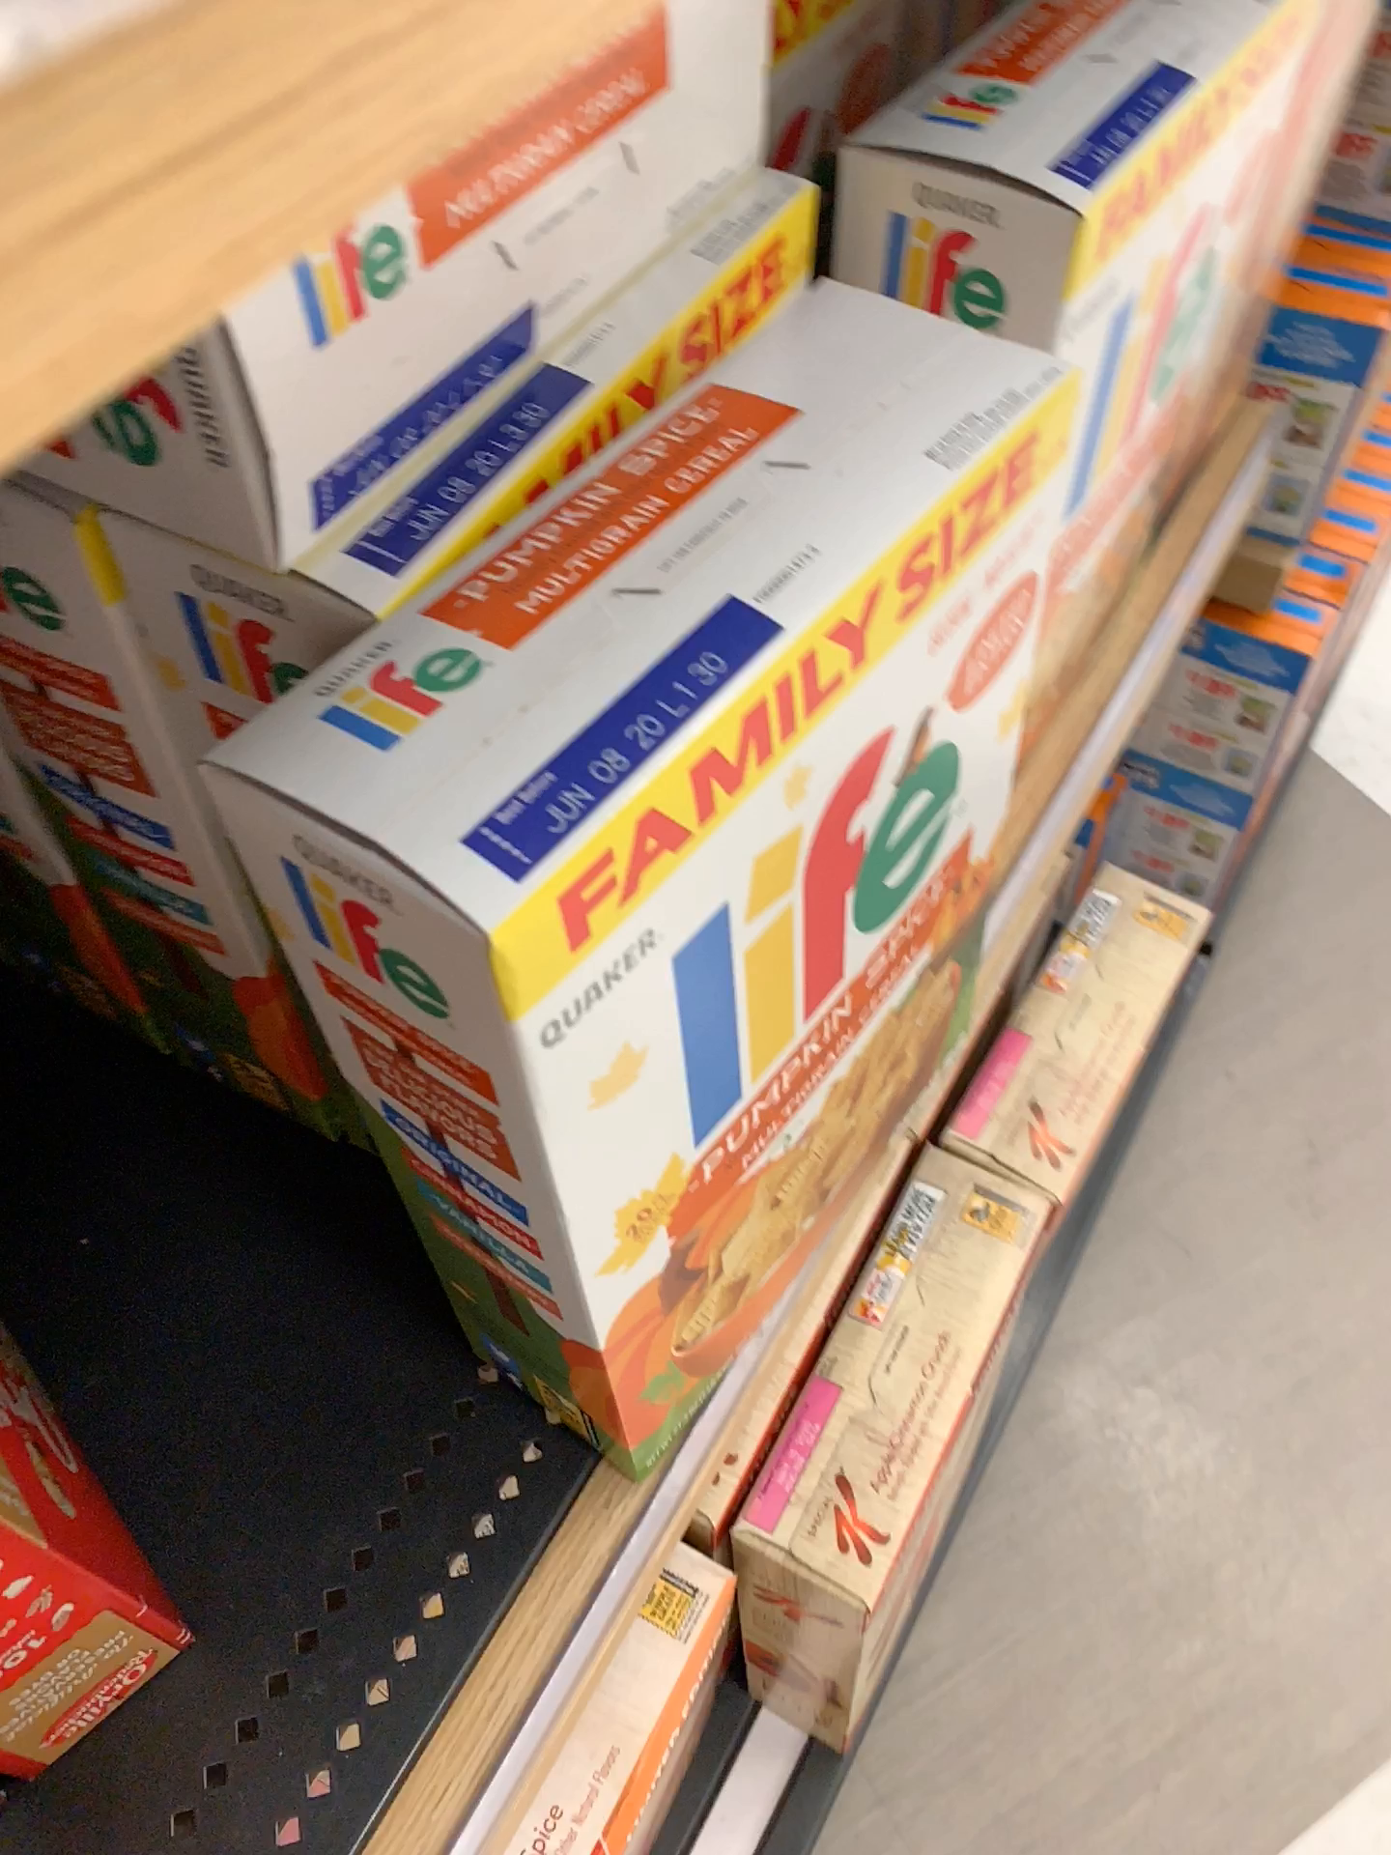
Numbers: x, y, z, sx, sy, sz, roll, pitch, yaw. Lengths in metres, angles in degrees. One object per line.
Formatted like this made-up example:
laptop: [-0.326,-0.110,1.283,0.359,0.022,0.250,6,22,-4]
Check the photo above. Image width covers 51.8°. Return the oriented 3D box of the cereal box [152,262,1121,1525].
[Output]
cereal box: [0.008,0.006,0.361,0.070,0.249,0.200,29,58,25]
